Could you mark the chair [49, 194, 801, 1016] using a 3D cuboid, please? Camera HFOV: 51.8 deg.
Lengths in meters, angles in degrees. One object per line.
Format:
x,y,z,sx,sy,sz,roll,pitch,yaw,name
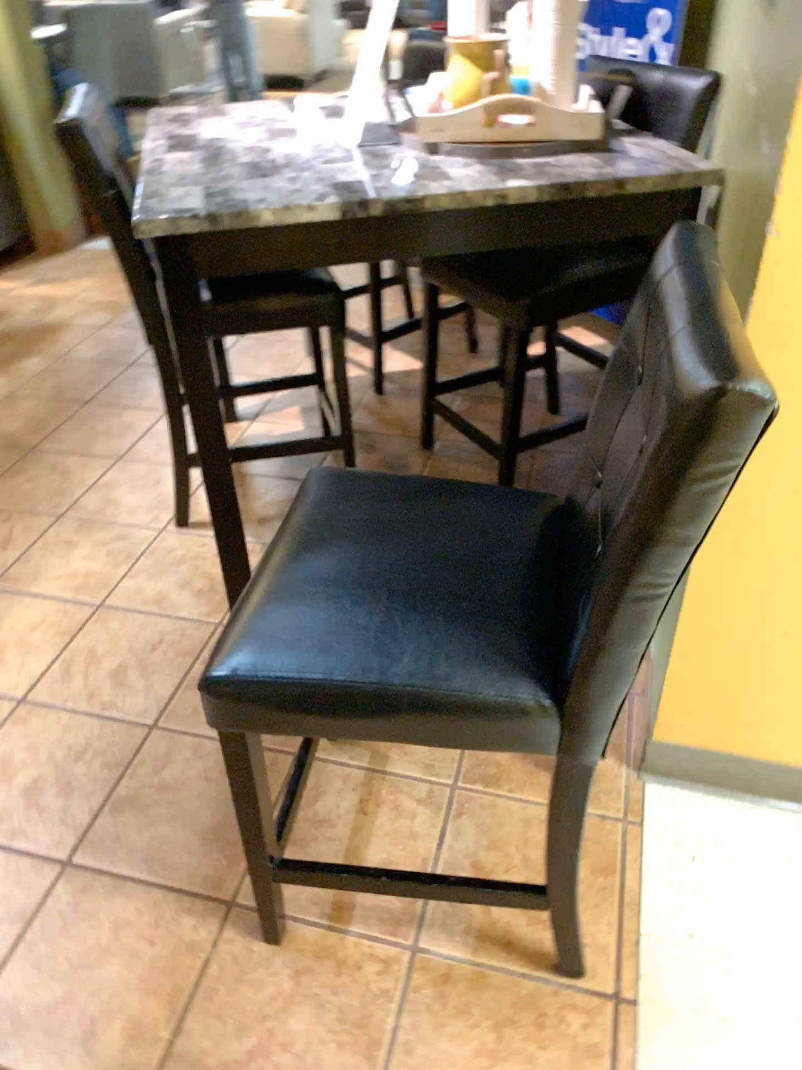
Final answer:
0.068,0.113,1.123,0.618,0.961,0.500,5,37,9,chair
